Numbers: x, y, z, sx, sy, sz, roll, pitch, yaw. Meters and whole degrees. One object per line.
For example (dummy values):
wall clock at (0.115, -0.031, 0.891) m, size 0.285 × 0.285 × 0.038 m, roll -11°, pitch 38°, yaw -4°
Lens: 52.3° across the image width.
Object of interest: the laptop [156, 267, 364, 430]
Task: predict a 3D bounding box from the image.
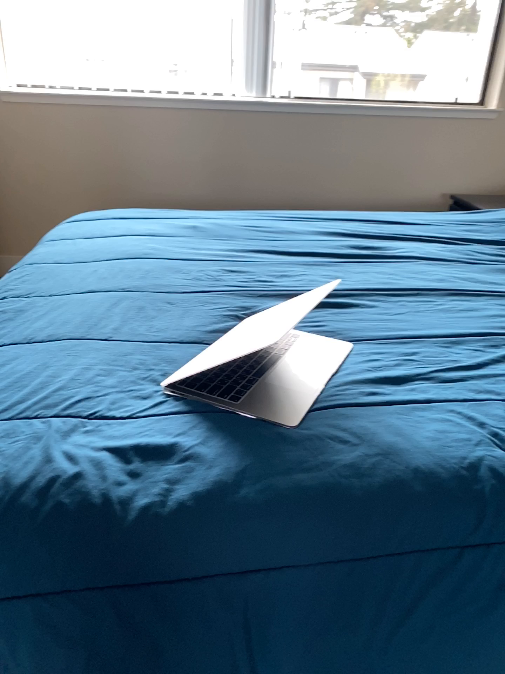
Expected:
laptop at (0.028, -0.004, 0.843) m, size 0.219 × 0.106 × 0.312 m, roll 15°, pitch 27°, yaw 21°
